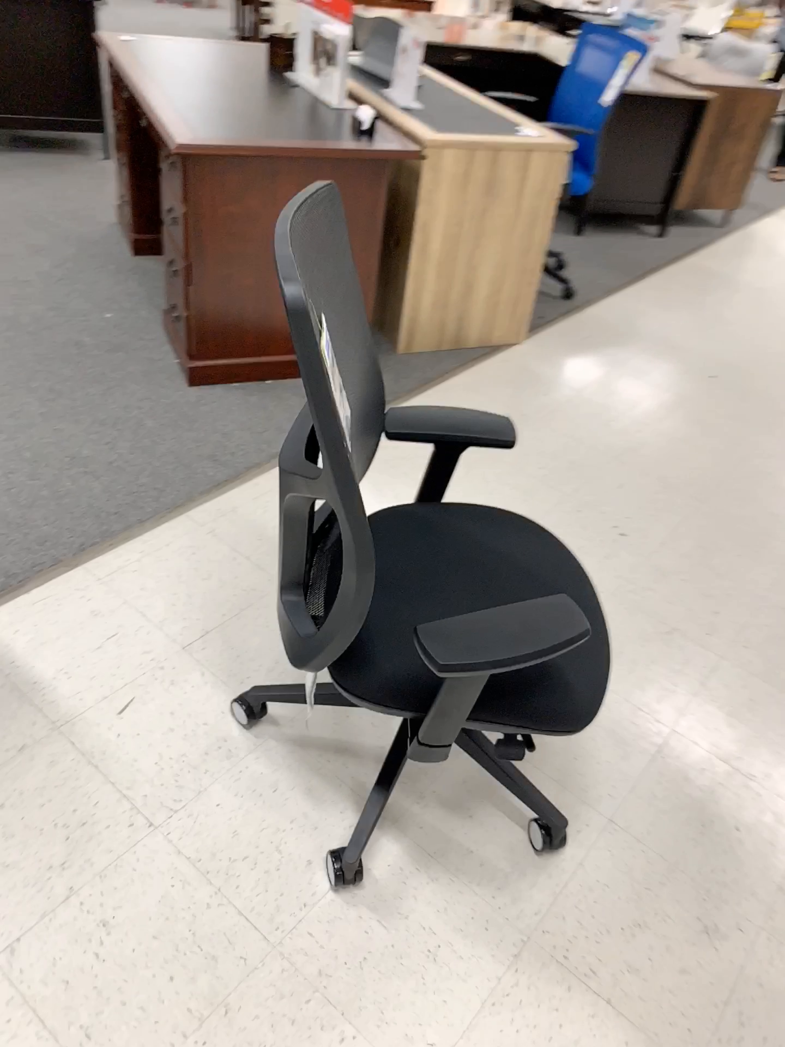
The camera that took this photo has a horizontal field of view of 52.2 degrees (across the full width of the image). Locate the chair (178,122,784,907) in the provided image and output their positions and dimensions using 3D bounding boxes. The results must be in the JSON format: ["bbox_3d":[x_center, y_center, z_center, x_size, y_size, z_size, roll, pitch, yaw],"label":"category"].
[{"bbox_3d":[0.107,0.016,1.299,0.730,0.994,0.704,5,38,-6],"label":"chair"}]
